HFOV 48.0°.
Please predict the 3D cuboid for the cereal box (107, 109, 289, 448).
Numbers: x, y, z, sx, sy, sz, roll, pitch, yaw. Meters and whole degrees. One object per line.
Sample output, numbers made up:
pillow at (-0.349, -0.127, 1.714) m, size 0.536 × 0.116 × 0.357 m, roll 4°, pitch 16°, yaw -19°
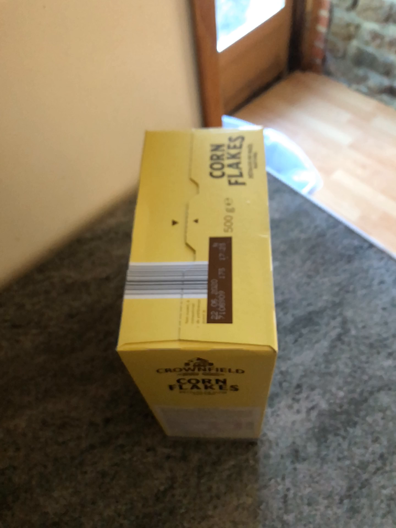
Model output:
cereal box at (0.013, 0.033, 0.406) m, size 0.100 × 0.259 × 0.201 m, roll 0°, pitch 56°, yaw 5°
